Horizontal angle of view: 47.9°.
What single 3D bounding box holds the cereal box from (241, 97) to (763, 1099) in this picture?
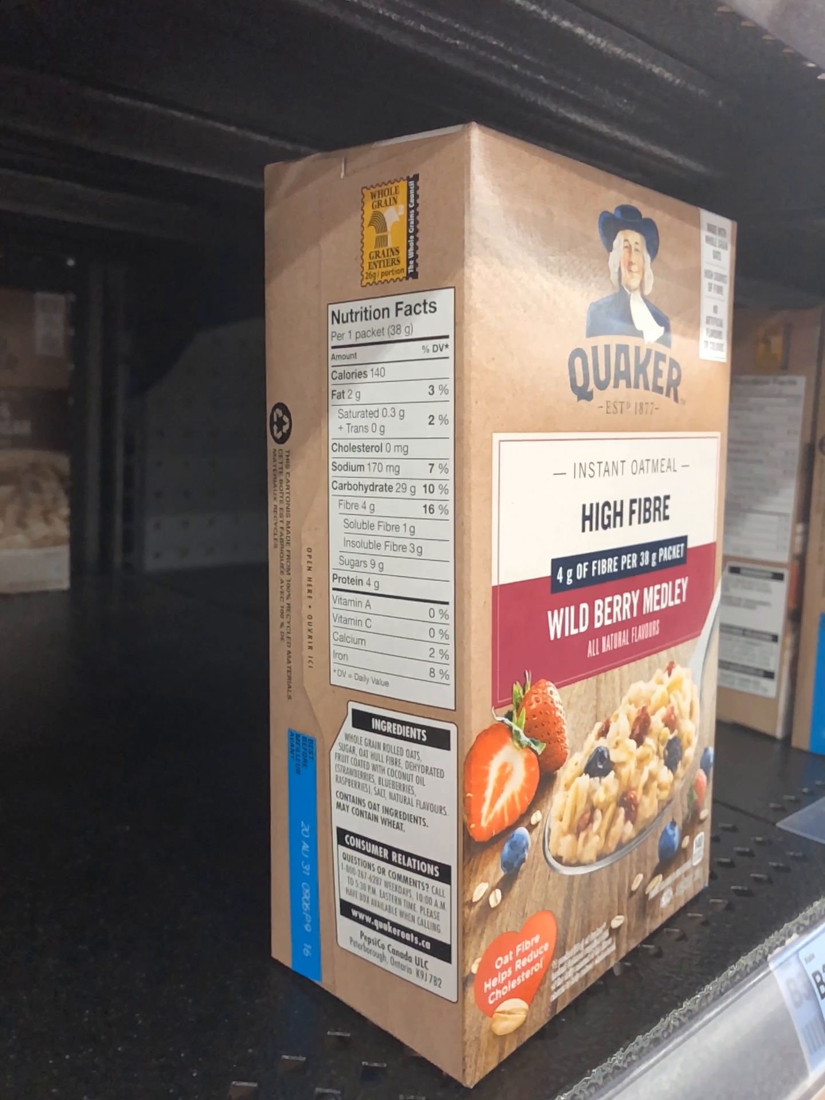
[{"bbox_3d":[0.029,0.010,0.247,0.070,0.200,0.130,6,8,41],"label":"cereal box"}]
